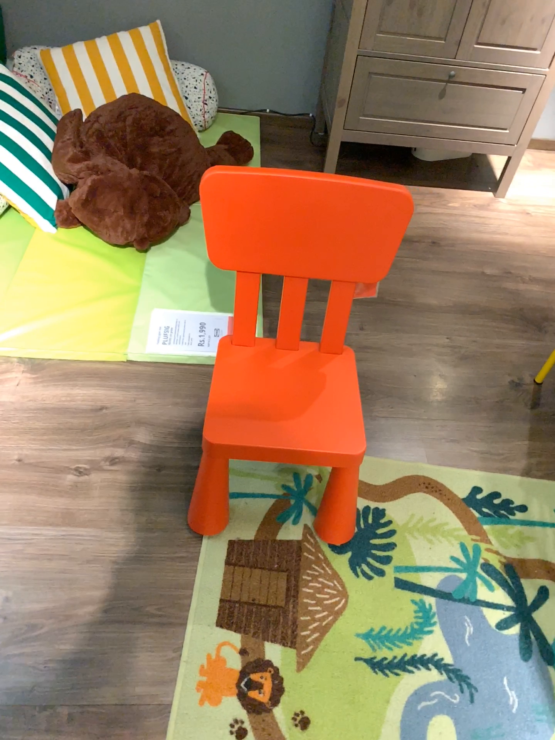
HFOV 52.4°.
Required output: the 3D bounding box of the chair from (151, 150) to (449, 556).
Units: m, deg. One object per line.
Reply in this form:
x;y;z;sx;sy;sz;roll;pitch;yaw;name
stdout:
0.009;-0.009;1.090;0.380;0.598;0.462;6;46;-3;chair
